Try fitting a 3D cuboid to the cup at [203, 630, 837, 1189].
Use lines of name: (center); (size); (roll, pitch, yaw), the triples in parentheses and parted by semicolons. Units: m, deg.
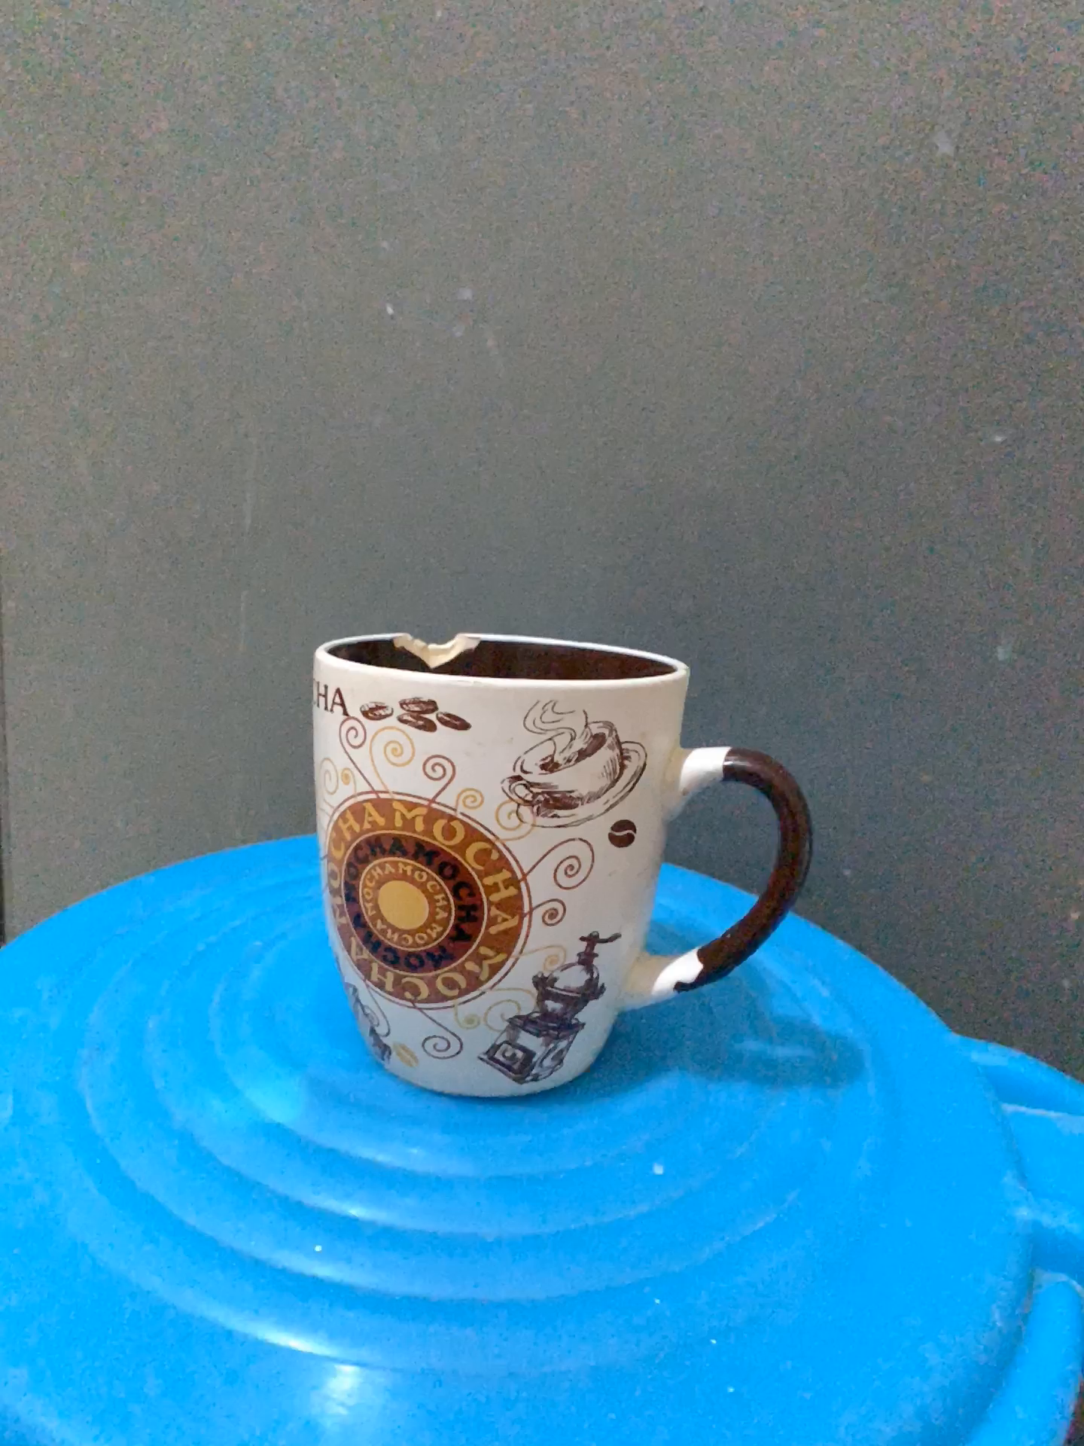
cup: (-0.002, 0.028, 0.246); (0.110, 0.080, 0.080); (8, 11, 20)
